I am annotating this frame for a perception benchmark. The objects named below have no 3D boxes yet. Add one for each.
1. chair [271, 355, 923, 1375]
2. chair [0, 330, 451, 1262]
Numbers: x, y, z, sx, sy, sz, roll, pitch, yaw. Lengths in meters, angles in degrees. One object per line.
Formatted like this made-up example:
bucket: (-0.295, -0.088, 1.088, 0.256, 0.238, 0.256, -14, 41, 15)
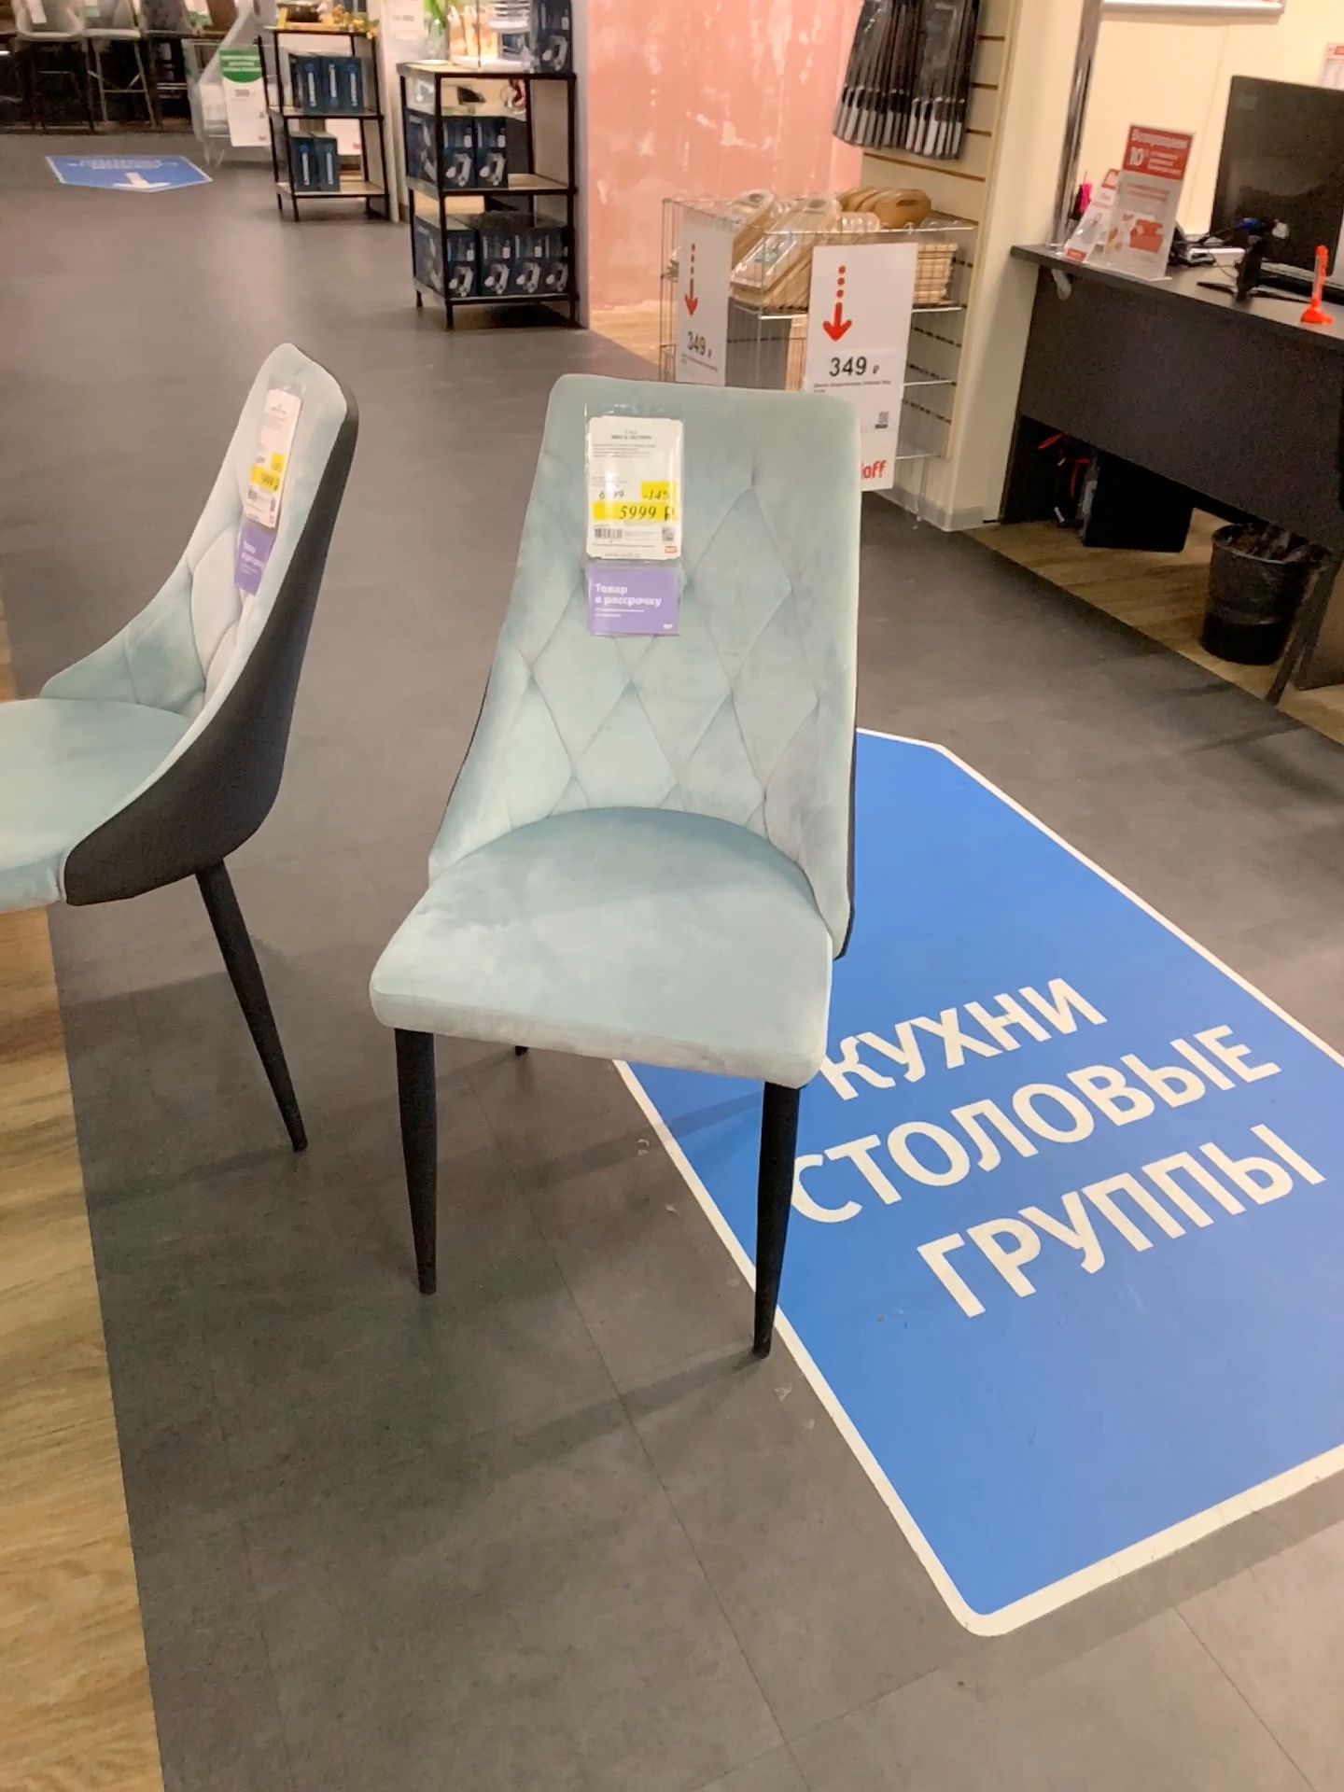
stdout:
chair: (-0.037, -0.043, 1.479, 0.470, 0.885, 0.553, 8, 33, 8)
chair: (-0.698, -0.157, 1.690, 0.666, 0.880, 0.571, -12, 35, -21)
